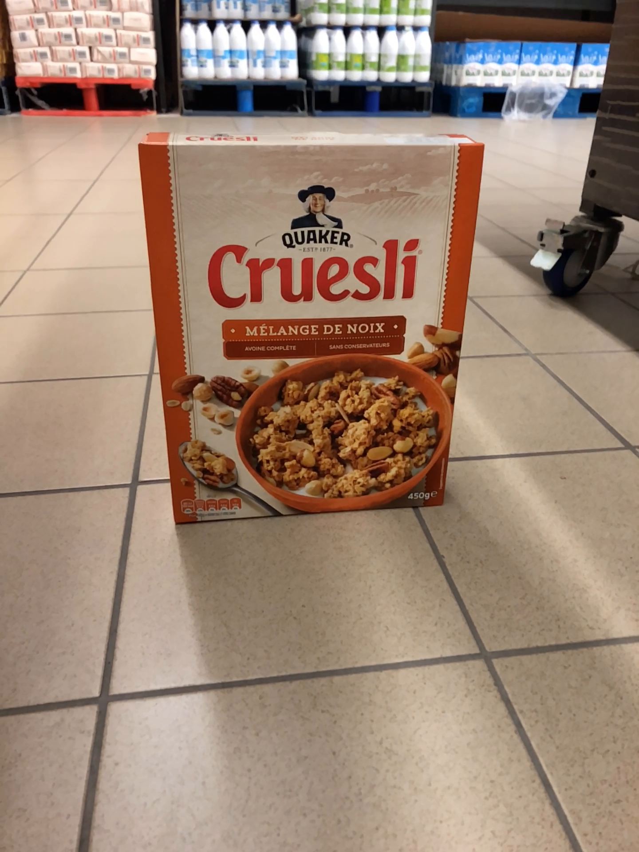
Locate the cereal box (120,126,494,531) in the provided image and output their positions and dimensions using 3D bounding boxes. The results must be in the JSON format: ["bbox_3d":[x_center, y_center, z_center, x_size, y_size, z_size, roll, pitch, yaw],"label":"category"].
[{"bbox_3d":[-0.009,-0.057,0.457,0.200,0.249,0.060,-2,27,-6],"label":"cereal box"}]
